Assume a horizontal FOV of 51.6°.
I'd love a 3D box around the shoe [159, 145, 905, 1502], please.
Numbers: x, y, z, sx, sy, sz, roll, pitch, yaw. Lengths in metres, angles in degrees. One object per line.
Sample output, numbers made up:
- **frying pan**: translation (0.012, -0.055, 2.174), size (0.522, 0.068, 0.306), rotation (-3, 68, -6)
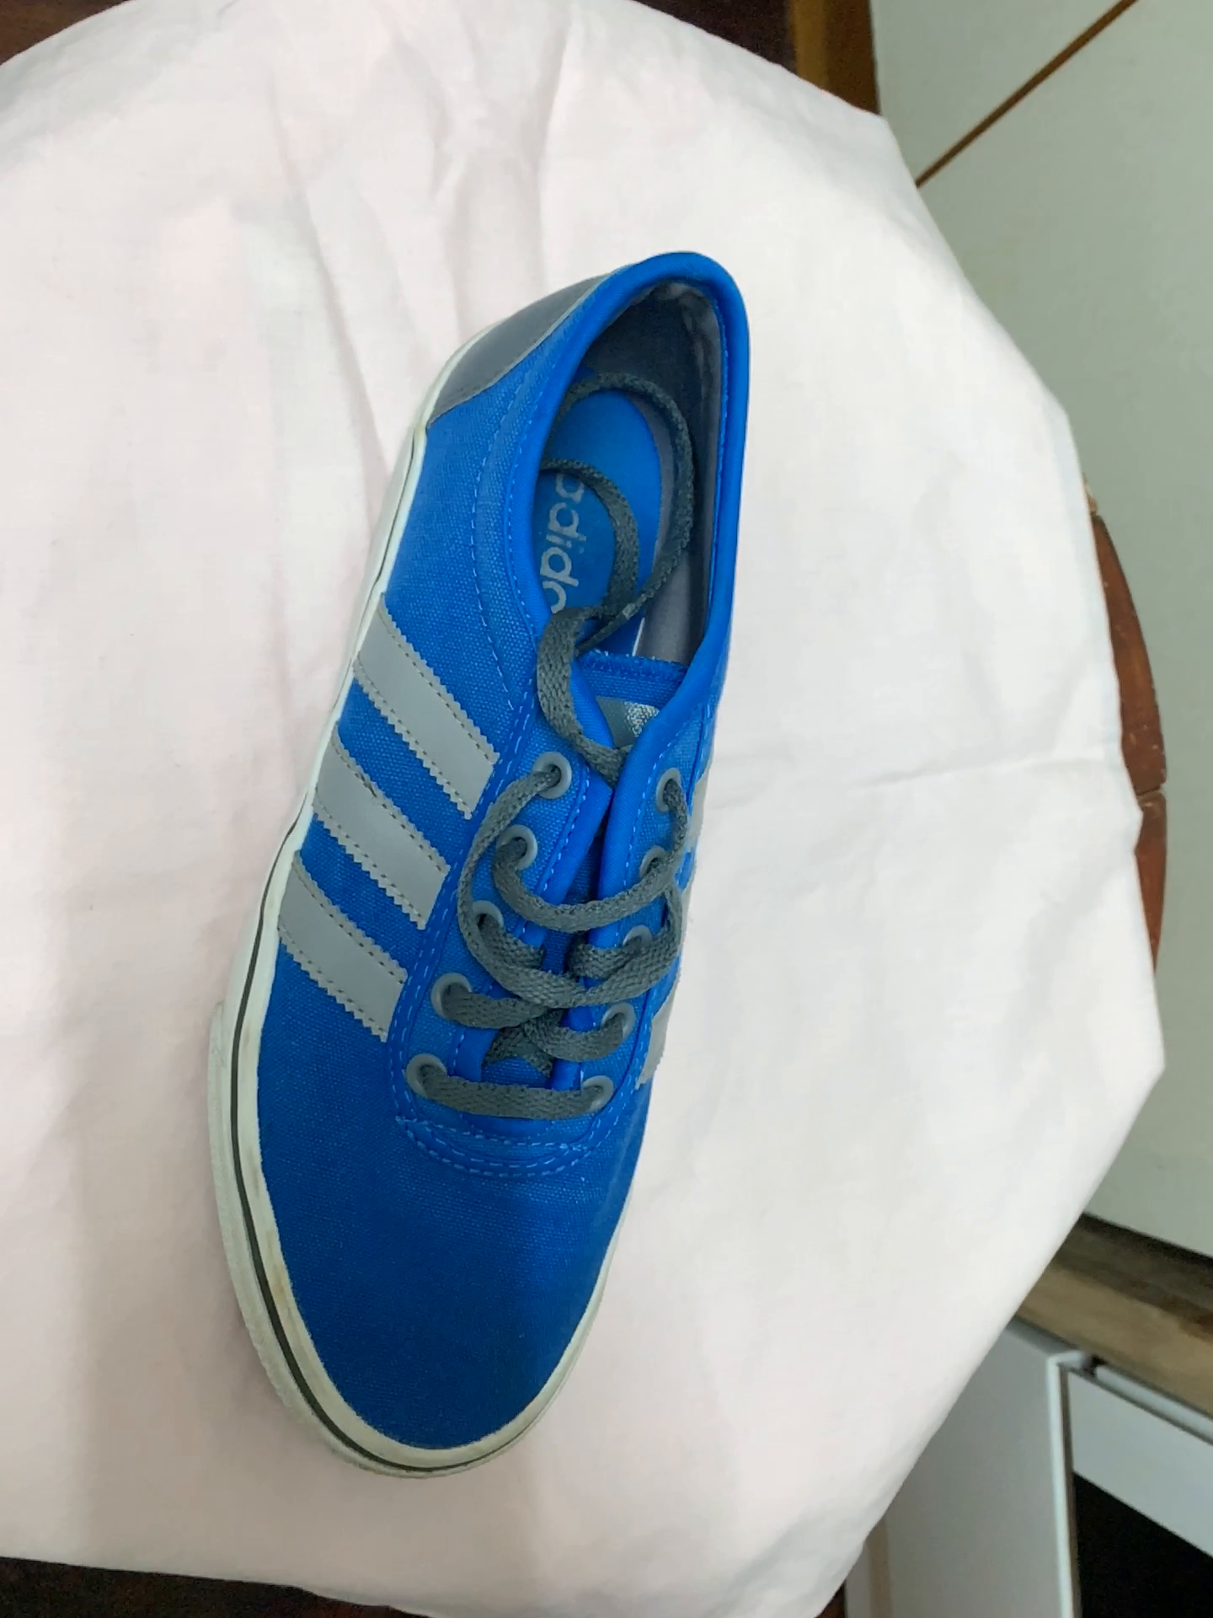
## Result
- **shoe**: translation (-0.019, 0.007, 0.271), size (0.100, 0.090, 0.234), rotation (12, 82, -21)
